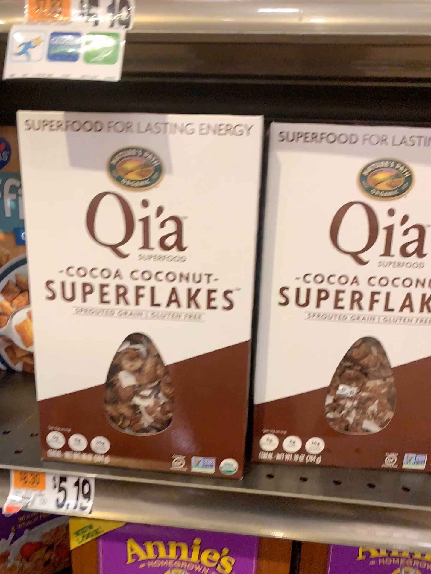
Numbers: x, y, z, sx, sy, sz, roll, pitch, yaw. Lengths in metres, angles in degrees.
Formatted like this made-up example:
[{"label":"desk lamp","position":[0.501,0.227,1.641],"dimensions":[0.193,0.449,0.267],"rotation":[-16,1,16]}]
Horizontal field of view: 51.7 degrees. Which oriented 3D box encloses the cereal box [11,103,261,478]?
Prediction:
[{"label":"cereal box","position":[-0.054,0.005,0.338],"dimensions":[0.160,0.259,0.060],"rotation":[4,14,5]}]
